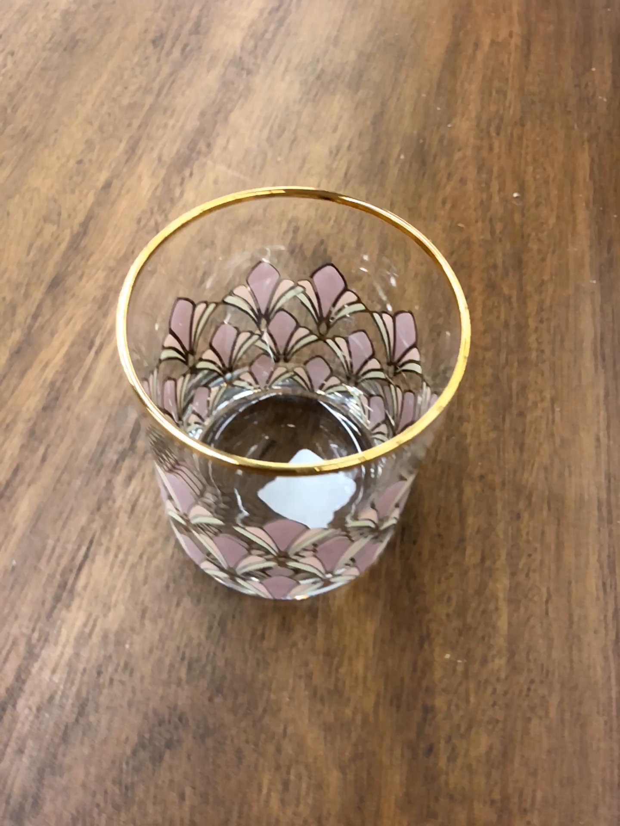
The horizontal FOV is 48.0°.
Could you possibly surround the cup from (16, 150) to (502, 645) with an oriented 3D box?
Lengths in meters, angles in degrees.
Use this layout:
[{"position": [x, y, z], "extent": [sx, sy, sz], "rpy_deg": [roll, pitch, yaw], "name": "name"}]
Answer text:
[{"position": [-0.008, 0.001, 0.188], "extent": [0.083, 0.090, 0.080], "rpy_deg": [1, 59, -2], "name": "cup"}]
